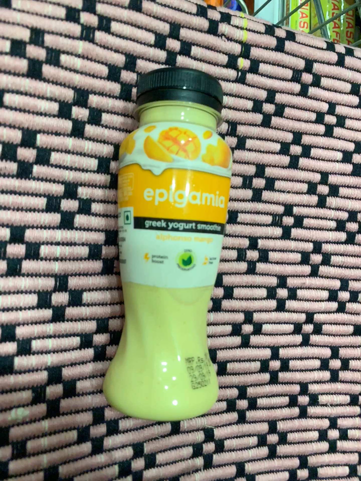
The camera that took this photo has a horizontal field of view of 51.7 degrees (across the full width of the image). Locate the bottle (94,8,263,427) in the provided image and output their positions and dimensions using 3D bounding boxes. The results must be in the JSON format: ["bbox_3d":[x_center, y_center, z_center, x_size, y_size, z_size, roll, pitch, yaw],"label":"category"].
[{"bbox_3d":[-0.005,-0.008,0.178,0.060,0.060,0.160,4,87,-14],"label":"bottle"}]
